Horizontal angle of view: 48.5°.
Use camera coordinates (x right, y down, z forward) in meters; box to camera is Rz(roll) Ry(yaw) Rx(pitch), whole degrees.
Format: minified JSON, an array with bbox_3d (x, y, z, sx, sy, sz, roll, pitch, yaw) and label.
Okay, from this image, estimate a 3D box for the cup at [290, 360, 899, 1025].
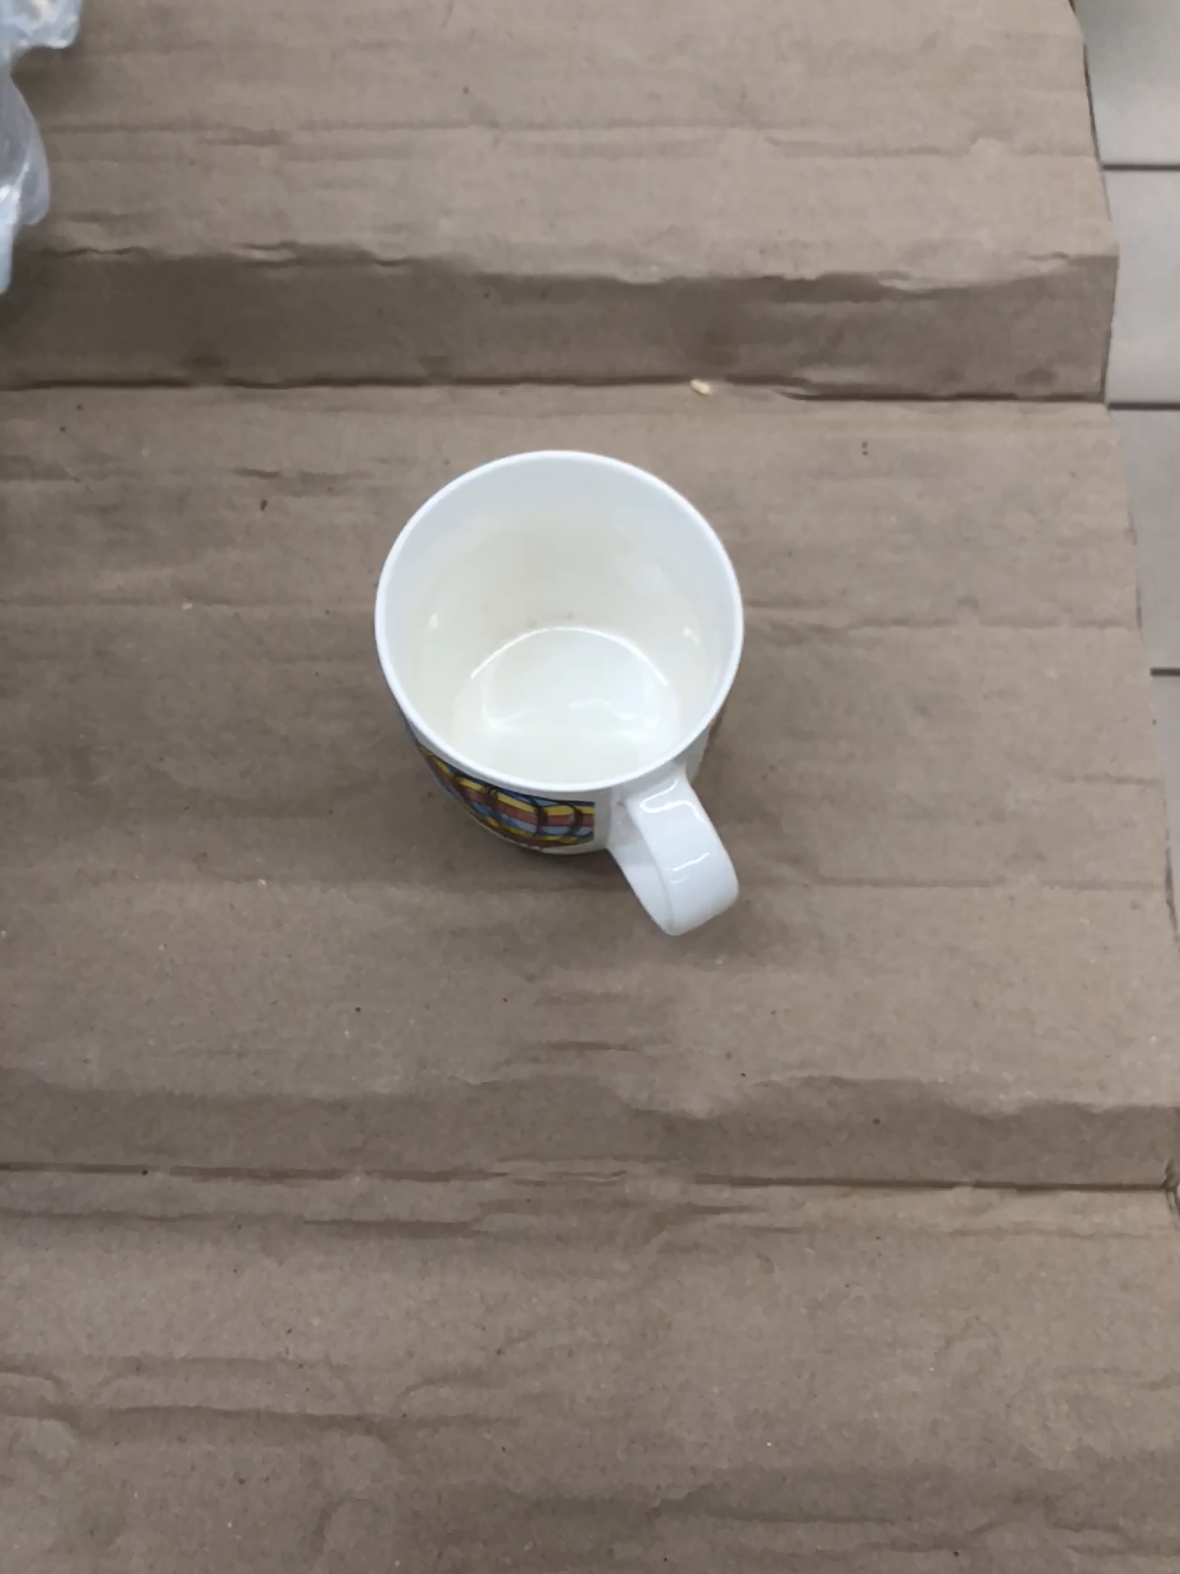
[{"bbox_3d":[0.000,-0.020,0.349,0.093,0.082,0.131,-28,77,-6],"label":"cup"}]
